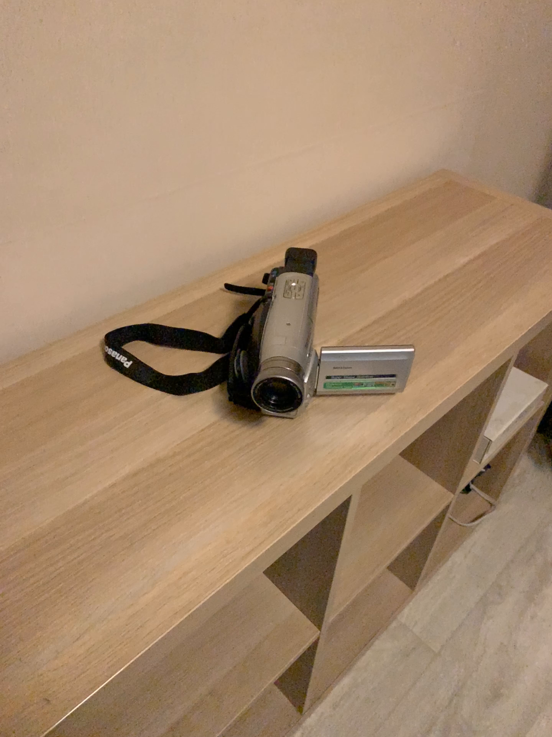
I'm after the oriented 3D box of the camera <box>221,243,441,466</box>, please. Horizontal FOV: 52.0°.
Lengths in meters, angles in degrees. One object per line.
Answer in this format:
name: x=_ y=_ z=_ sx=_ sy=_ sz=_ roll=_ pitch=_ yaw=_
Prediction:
camera: x=0.060 y=-0.029 z=0.651 sx=0.202 sy=0.109 sz=0.248 roll=5 pitch=40 yaw=3
